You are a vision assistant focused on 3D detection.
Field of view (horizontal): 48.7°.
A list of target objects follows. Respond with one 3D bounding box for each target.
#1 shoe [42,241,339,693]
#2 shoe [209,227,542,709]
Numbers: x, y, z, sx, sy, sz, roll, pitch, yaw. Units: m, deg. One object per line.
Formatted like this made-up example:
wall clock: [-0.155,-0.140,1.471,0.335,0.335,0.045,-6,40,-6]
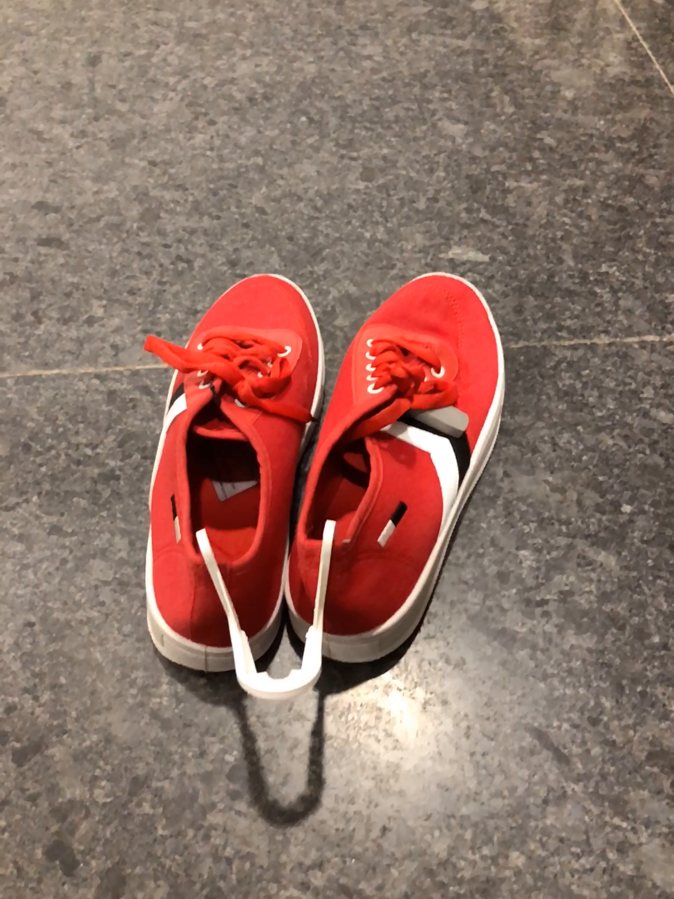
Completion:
shoe: [-0.059,-0.002,0.405,0.101,0.090,0.234,3,52,4]
shoe: [0.033,-0.004,0.399,0.103,0.090,0.234,13,54,11]
